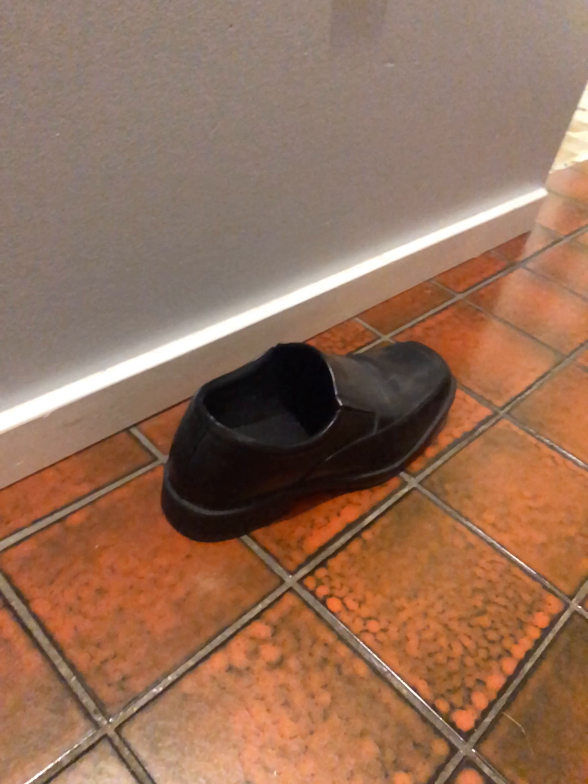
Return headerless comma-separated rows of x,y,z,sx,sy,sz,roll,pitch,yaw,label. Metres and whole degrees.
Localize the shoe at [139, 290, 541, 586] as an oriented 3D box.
0.041,0.019,0.527,0.300,0.100,0.120,-18,48,-31,shoe
